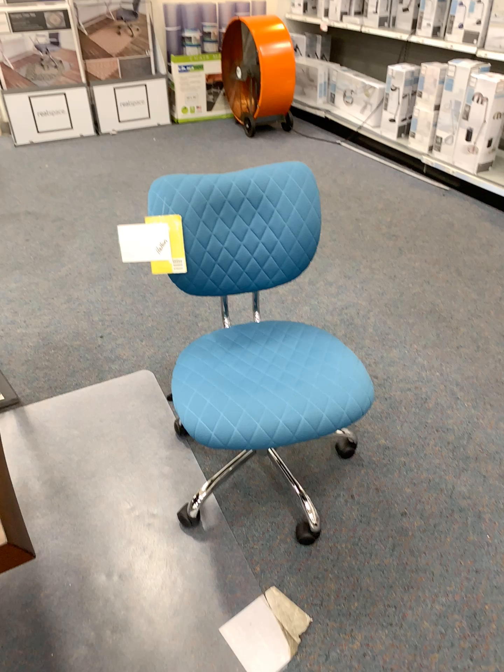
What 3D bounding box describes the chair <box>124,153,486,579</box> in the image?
[{"bbox_3d":[0.044,0.043,1.337,0.598,0.775,0.668,-9,38,-10],"label":"chair"}]
